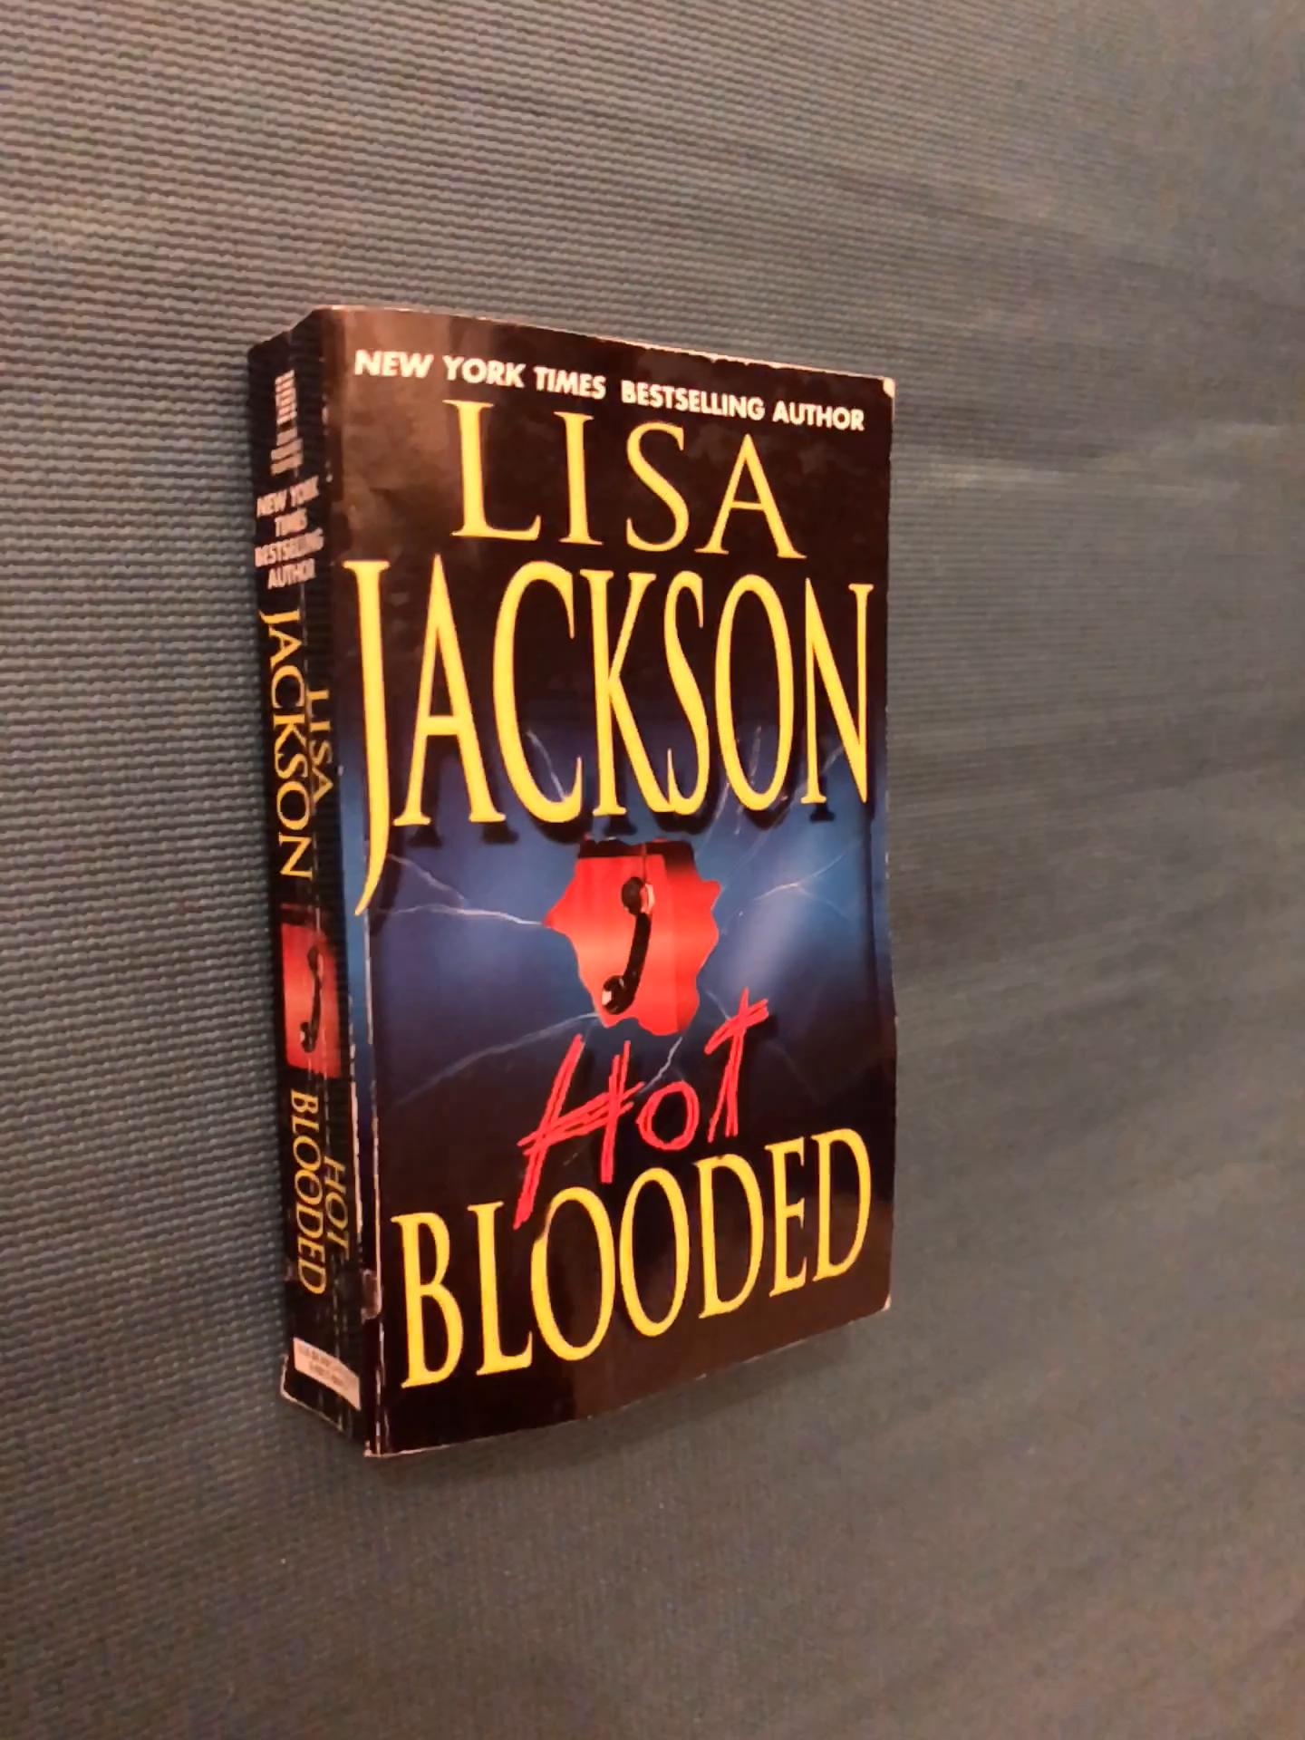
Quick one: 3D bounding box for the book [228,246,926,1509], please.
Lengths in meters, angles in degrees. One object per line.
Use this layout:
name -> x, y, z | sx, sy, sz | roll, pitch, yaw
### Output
book -> -0.009, 0.000, 0.238 | 0.104, 0.040, 0.171 | -4, 95, -30
